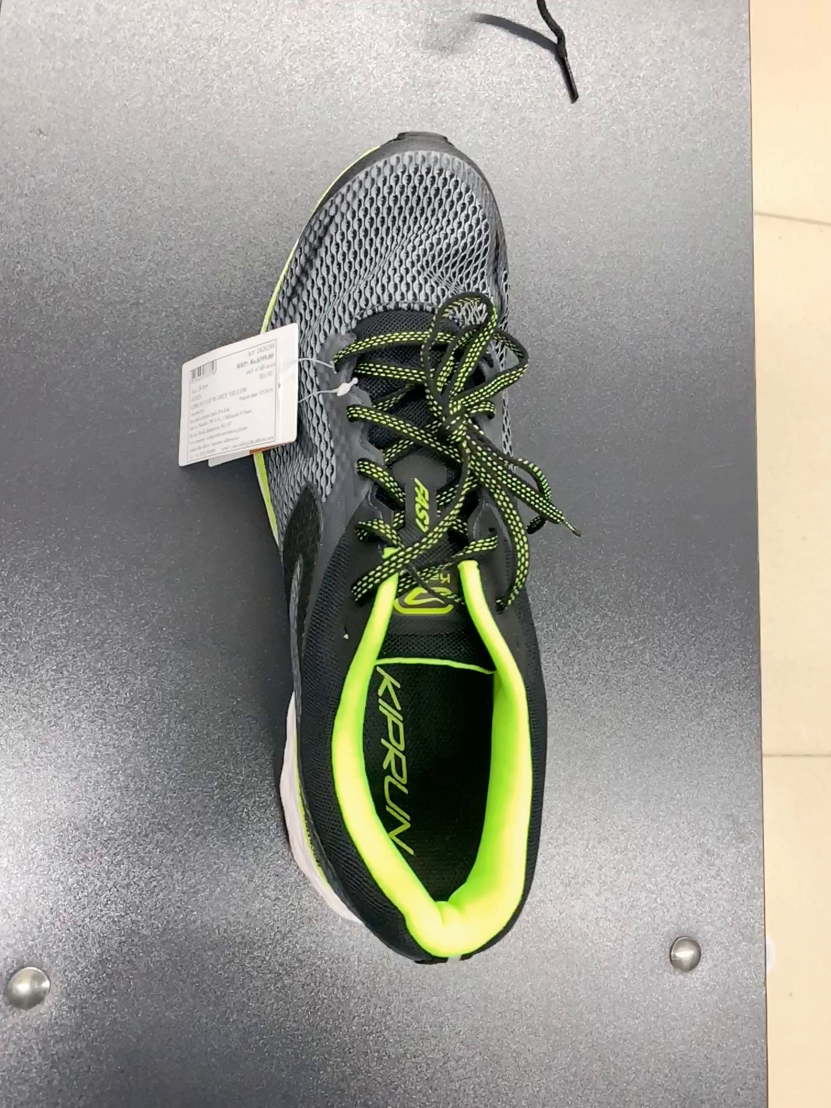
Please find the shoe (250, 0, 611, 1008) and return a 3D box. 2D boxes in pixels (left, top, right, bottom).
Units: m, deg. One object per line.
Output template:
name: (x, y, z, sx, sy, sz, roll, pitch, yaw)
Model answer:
shoe: (-0.005, -0.018, 0.325, 0.110, 0.110, 0.310, 0, 85, -12)
